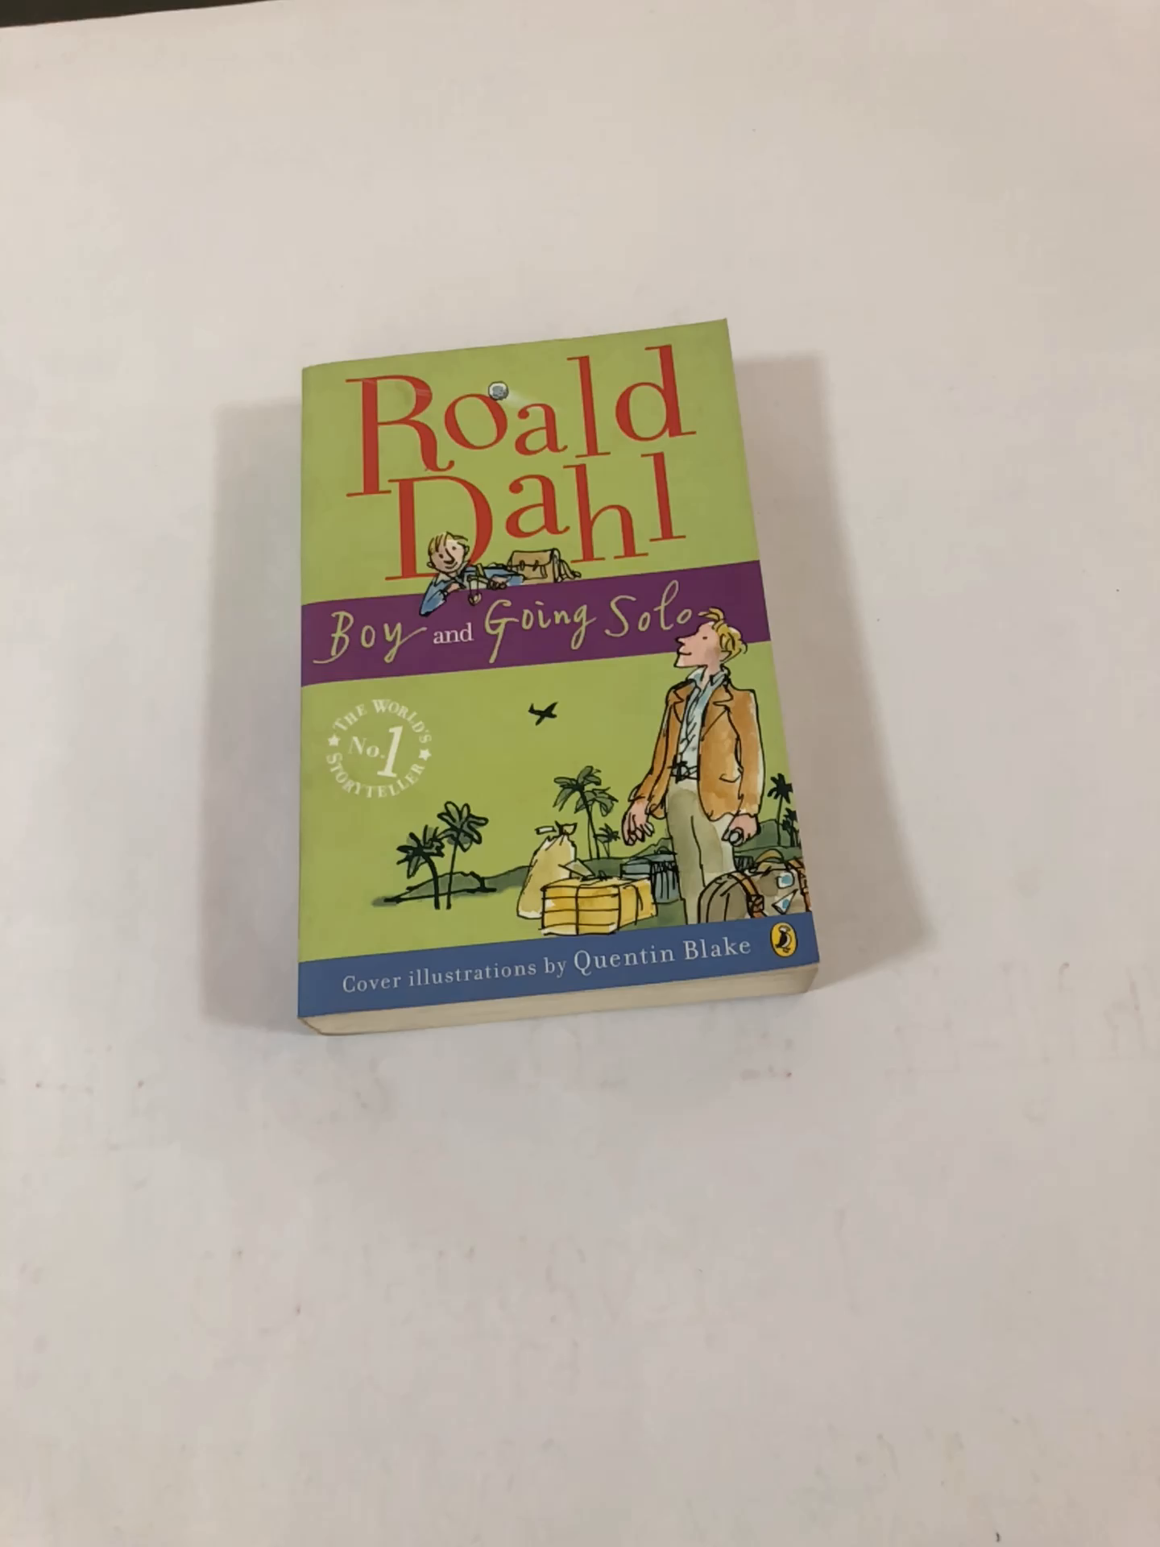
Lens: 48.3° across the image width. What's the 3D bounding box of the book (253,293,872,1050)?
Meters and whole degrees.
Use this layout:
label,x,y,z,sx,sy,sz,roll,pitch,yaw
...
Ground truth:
label,x,y,z,sx,sy,sz,roll,pitch,yaw
book,-0.011,-0.033,0.343,0.140,0.036,0.193,-5,68,0
